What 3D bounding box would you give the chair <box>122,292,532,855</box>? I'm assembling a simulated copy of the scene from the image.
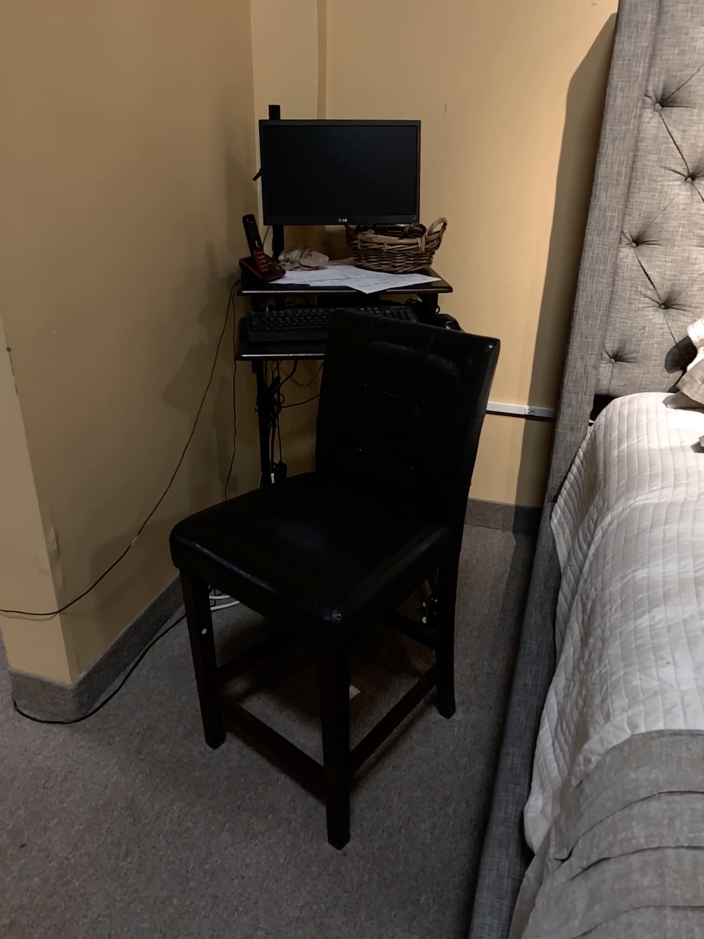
[{"bbox_3d":[-0.050,0.163,1.522,0.560,0.912,0.518,21,32,36],"label":"chair"}]
